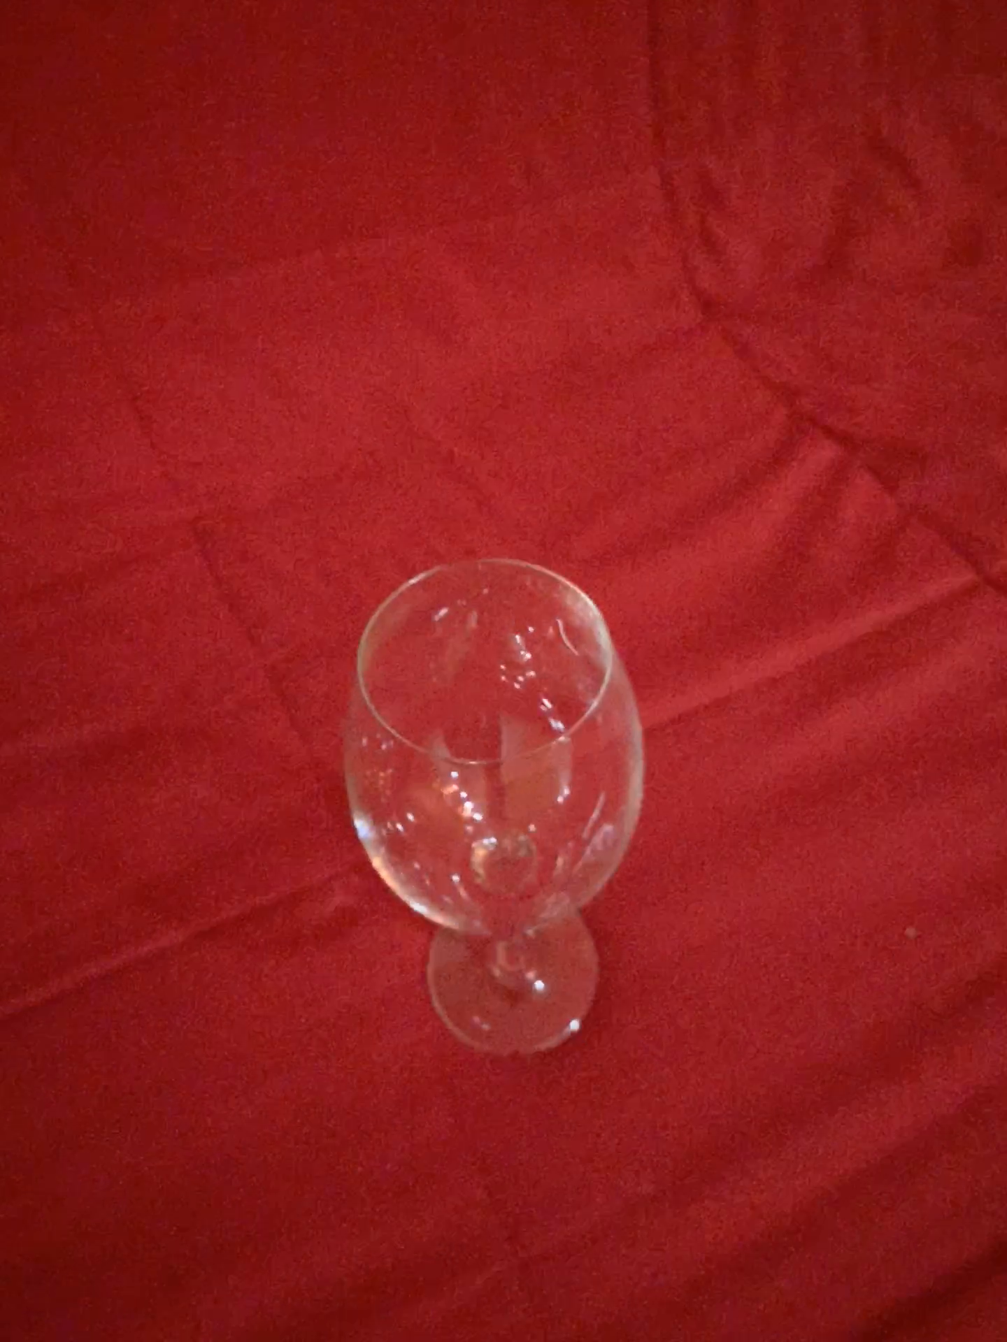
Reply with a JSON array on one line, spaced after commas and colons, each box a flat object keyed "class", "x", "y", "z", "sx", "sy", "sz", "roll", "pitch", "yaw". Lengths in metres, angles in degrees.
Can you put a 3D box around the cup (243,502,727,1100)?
[{"class": "cup", "x": -0.005, "y": 0.067, "z": 0.363, "sx": 0.094, "sy": 0.246, "sz": 0.083, "roll": -22, "pitch": 60, "yaw": -12}]
